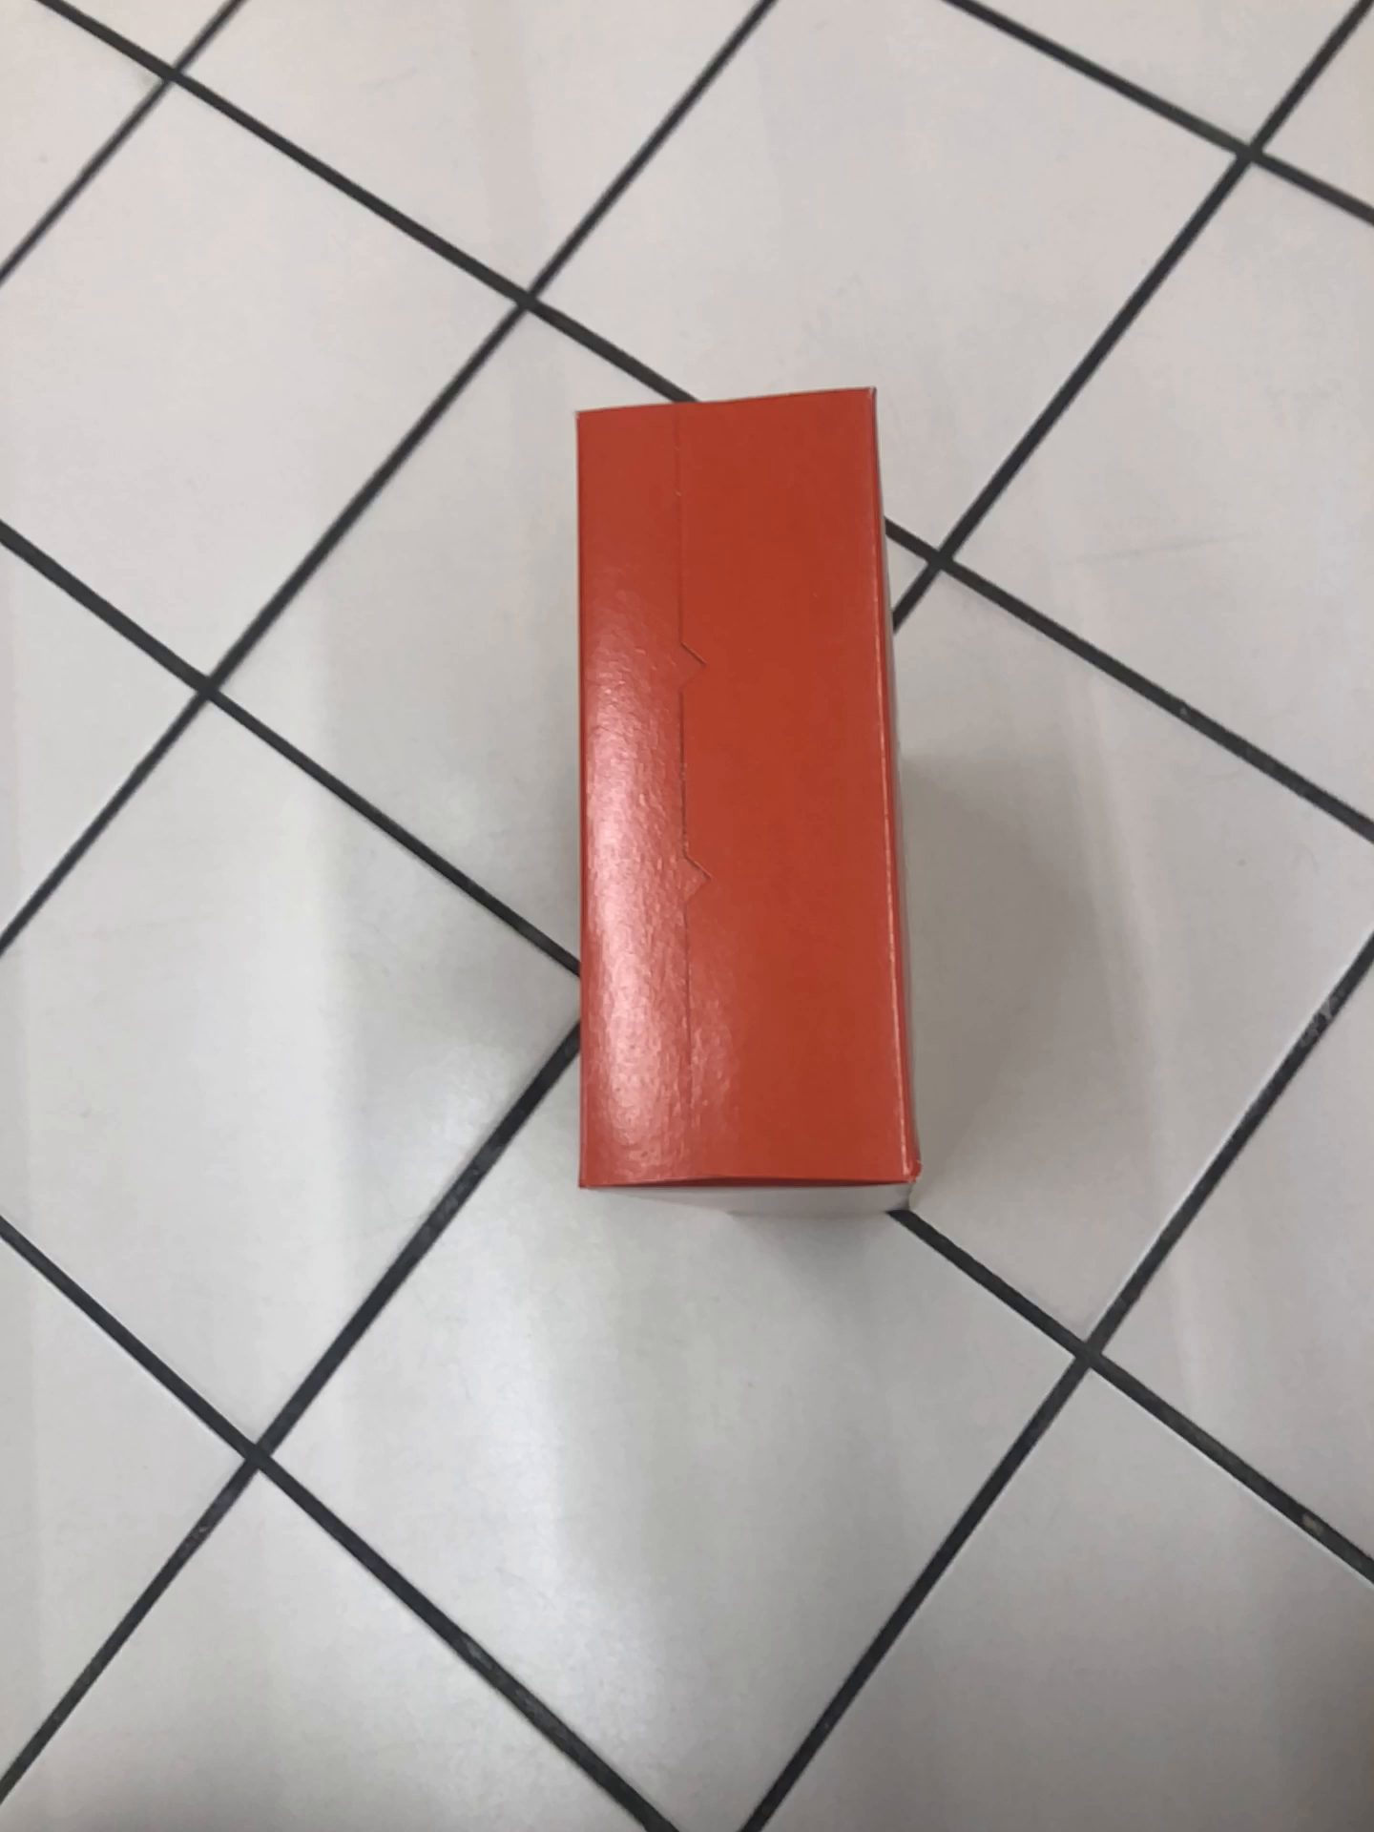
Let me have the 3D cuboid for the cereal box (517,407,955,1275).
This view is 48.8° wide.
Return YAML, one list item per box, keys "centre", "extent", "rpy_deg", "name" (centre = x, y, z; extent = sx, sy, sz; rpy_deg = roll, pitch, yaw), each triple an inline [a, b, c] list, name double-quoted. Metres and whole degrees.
- centre: [0.023, 0.007, 0.410]
  extent: [0.080, 0.240, 0.170]
  rpy_deg: [-3, 77, 8]
  name: "cereal box"
